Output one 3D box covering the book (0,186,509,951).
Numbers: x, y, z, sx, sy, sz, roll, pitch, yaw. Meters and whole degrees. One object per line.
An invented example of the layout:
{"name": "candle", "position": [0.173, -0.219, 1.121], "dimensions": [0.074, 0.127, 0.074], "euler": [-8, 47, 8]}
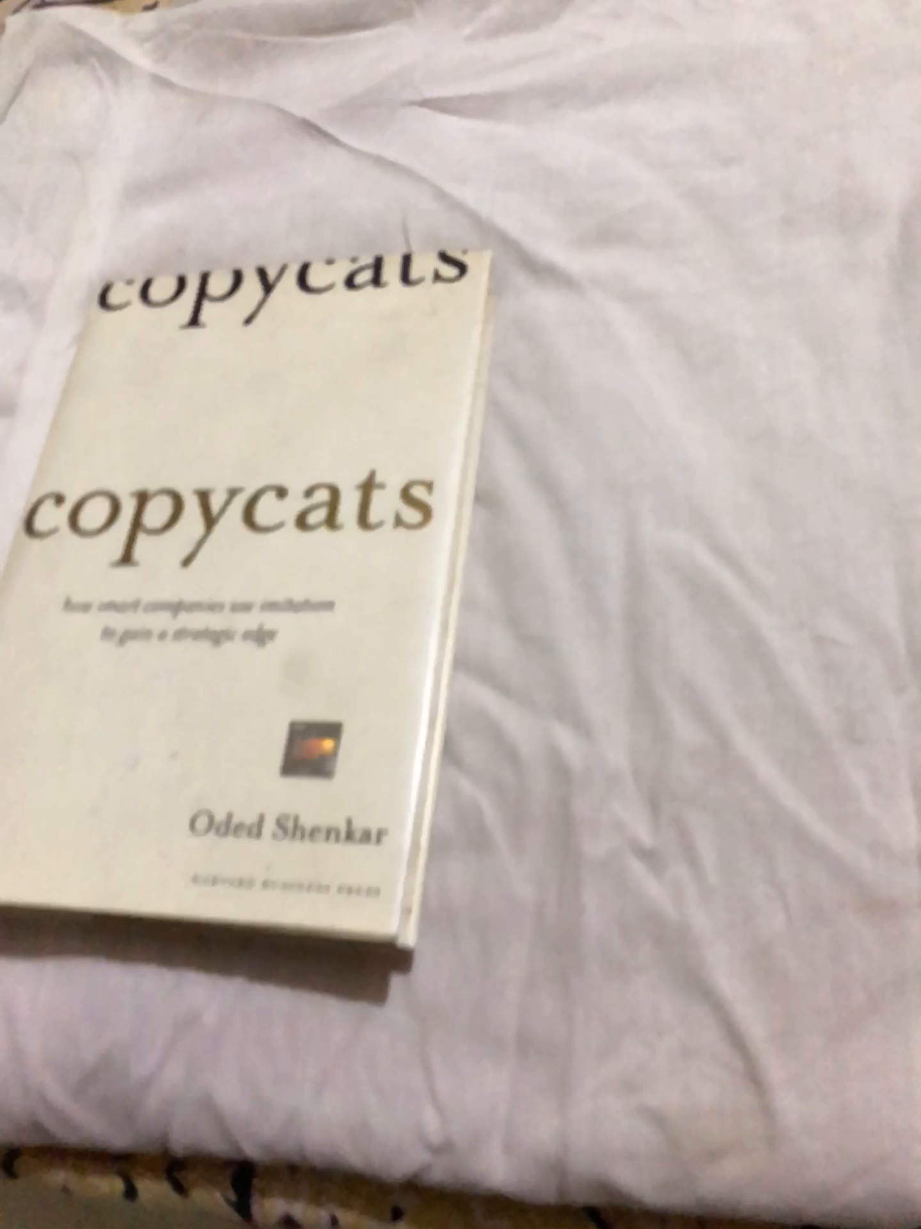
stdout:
{"name": "book", "position": [-0.073, -0.024, 0.314], "dimensions": [0.150, 0.040, 0.230], "euler": [-1, 64, 16]}
